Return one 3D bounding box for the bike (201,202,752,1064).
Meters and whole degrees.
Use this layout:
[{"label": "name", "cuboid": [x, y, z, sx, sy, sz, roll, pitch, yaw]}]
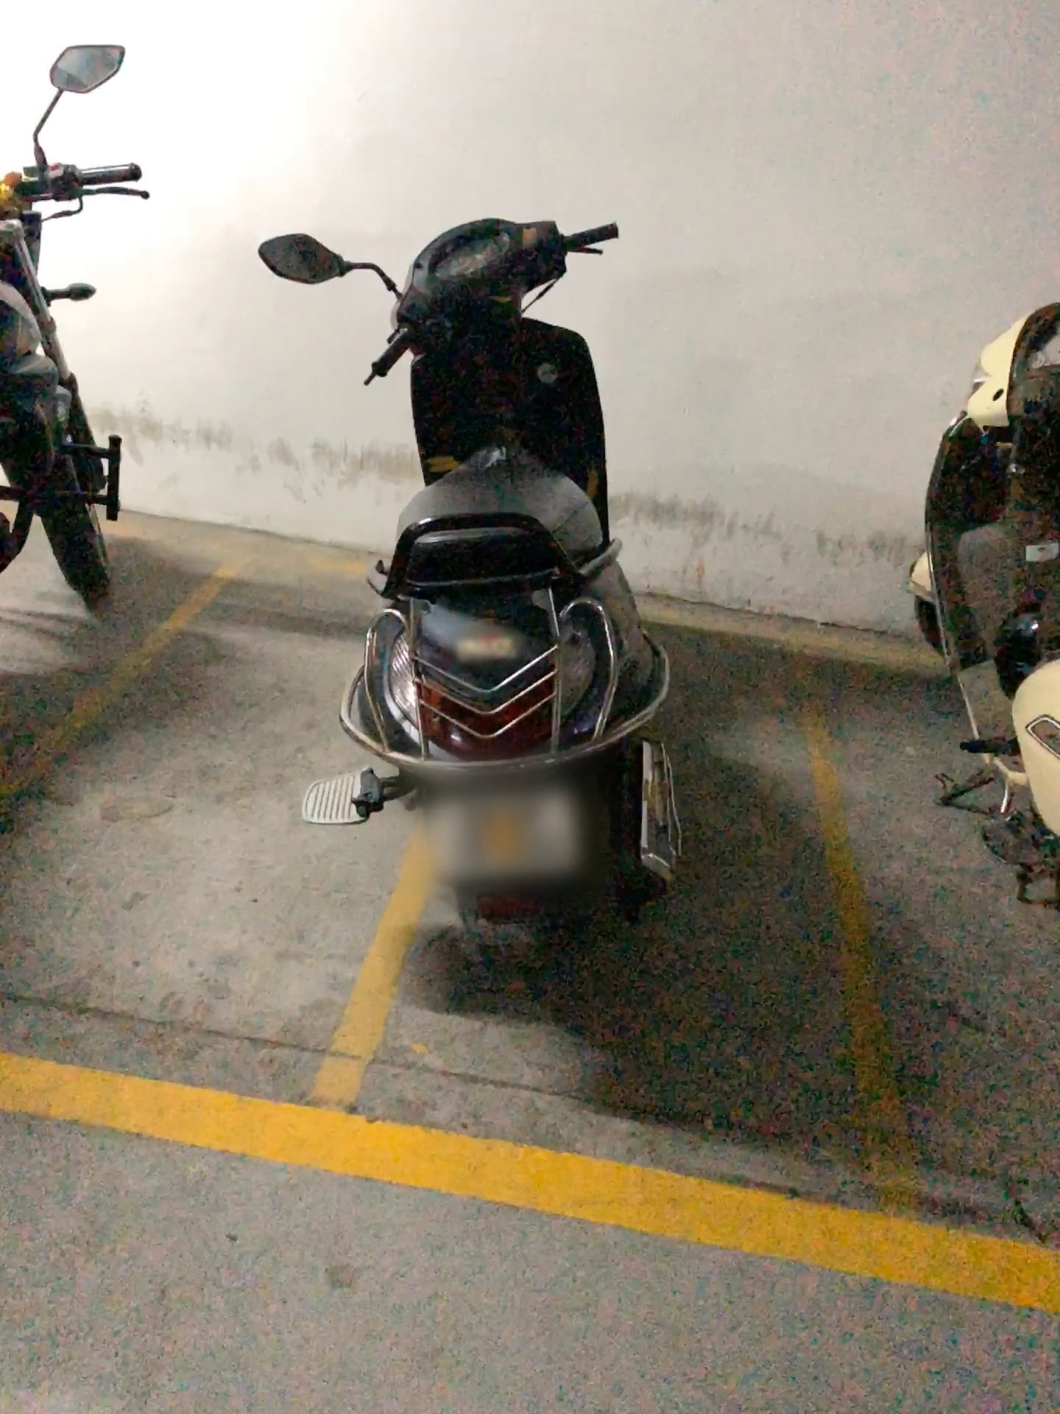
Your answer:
[{"label": "bike", "cuboid": [-0.160, -0.292, 2.252, 0.652, 1.239, 1.540, 4, 28, -5]}]
